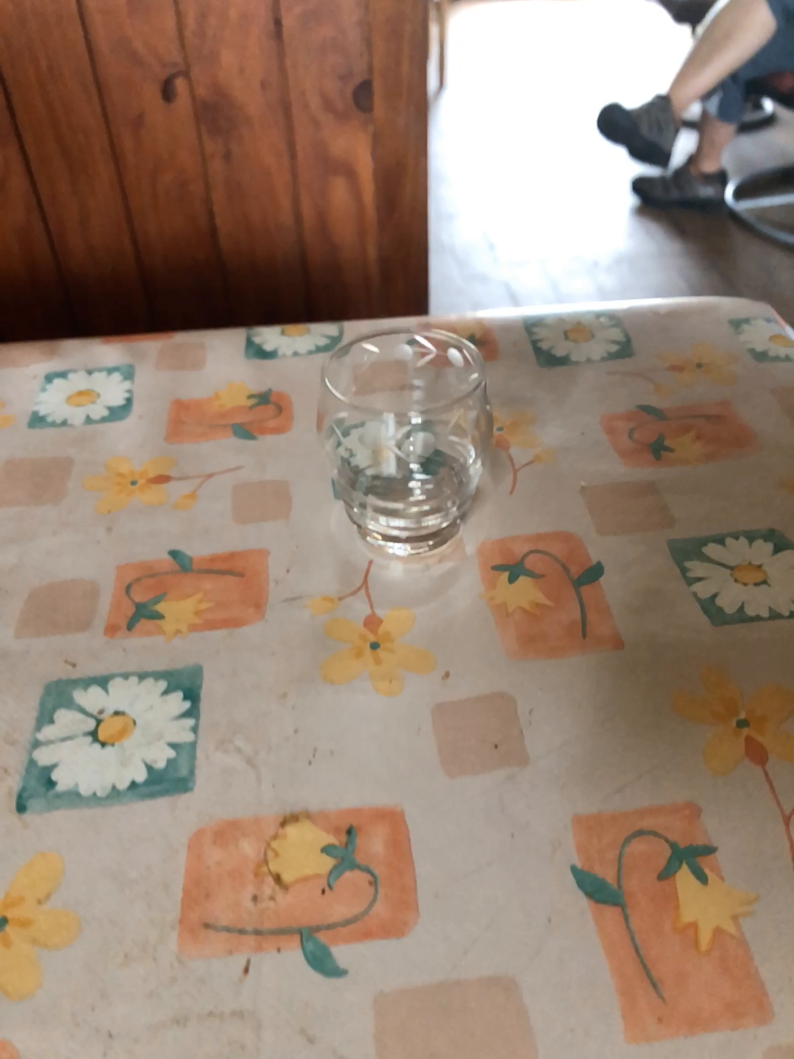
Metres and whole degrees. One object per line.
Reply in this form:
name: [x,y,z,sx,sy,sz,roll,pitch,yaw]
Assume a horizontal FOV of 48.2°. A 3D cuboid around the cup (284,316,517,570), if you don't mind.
cup: [0.002,-0.027,0.268,0.060,0.050,0.060,-1,40,1]
